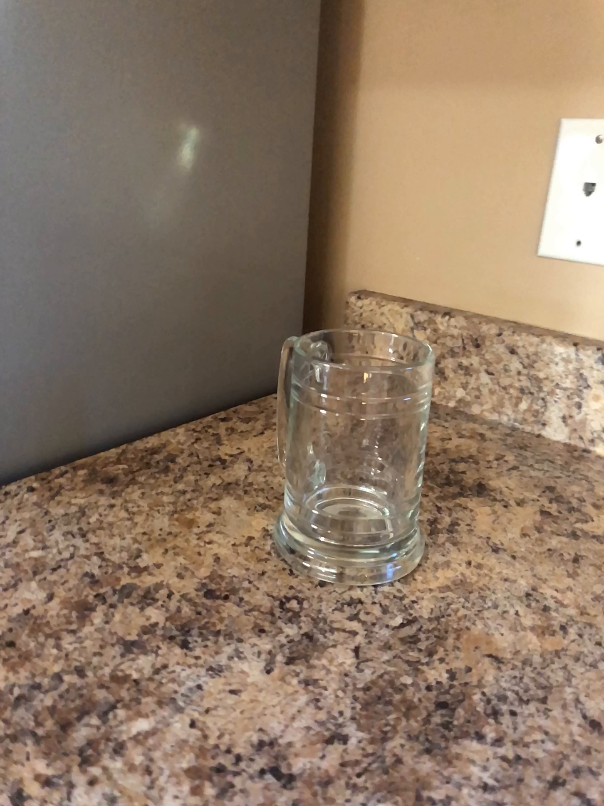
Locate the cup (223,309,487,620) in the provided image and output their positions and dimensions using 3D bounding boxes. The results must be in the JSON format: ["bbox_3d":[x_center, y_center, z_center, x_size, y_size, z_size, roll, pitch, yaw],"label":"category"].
[{"bbox_3d":[0.024,0.027,0.426,0.100,0.139,0.130,-10,25,-31],"label":"cup"}]
